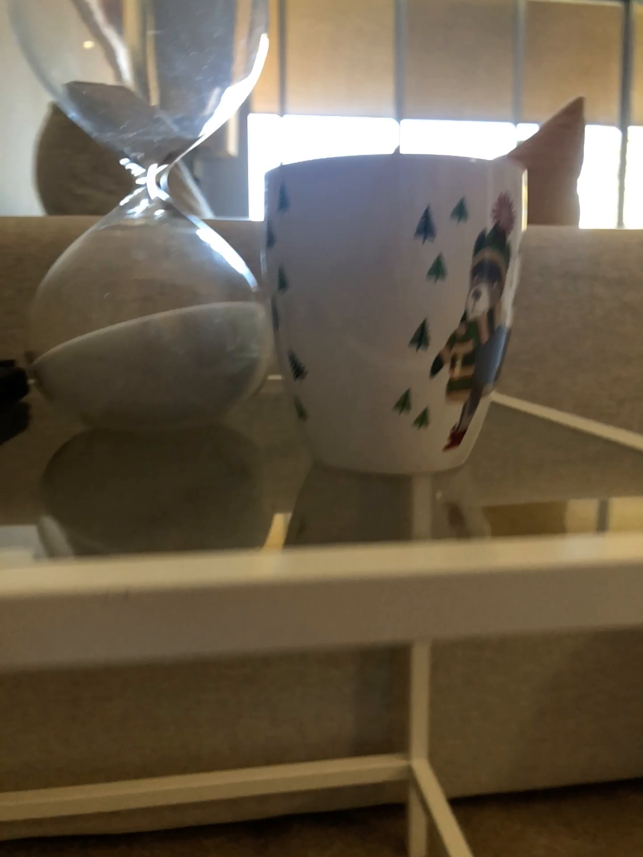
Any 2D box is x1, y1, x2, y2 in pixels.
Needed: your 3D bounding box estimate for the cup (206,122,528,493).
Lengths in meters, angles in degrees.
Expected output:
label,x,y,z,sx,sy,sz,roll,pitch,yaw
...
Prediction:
label,x,y,z,sx,sy,sz,roll,pitch,yaw
cup,0.032,-0.048,0.302,0.100,0.110,0.150,2,9,16
